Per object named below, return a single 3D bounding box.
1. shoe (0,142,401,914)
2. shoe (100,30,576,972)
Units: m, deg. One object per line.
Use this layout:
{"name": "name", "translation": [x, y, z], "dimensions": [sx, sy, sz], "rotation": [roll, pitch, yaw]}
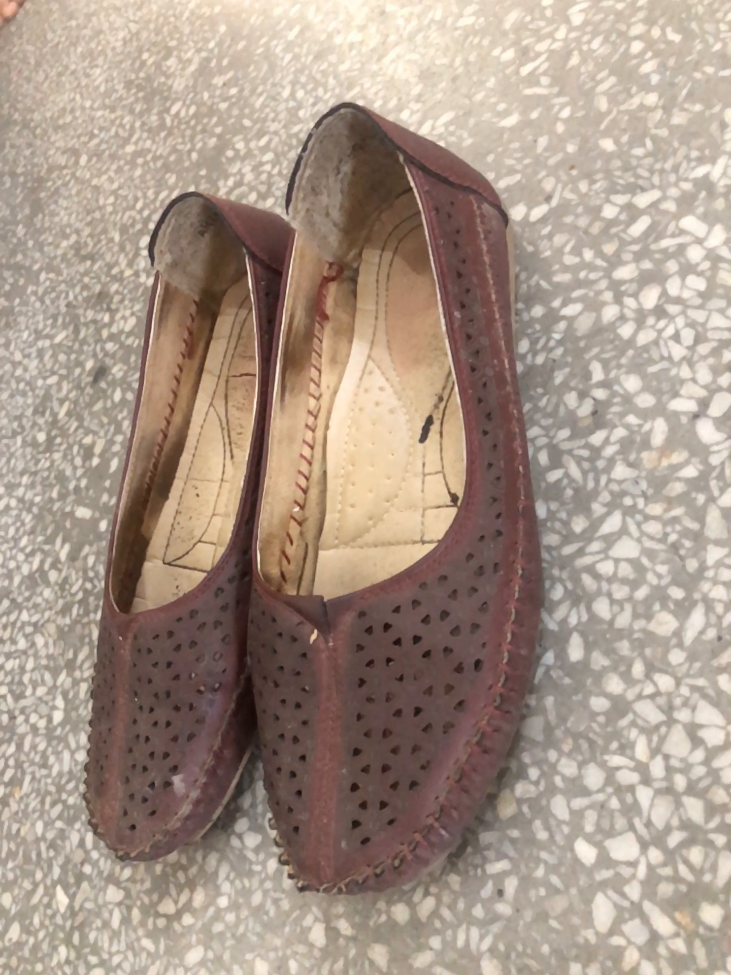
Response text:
{"name": "shoe", "translation": [-0.065, 0.011, 0.298], "dimensions": [0.088, 0.080, 0.236], "rotation": [0, 73, 37]}
{"name": "shoe", "translation": [0.003, 0.000, 0.248], "dimensions": [0.095, 0.080, 0.231], "rotation": [-9, 68, 35]}
